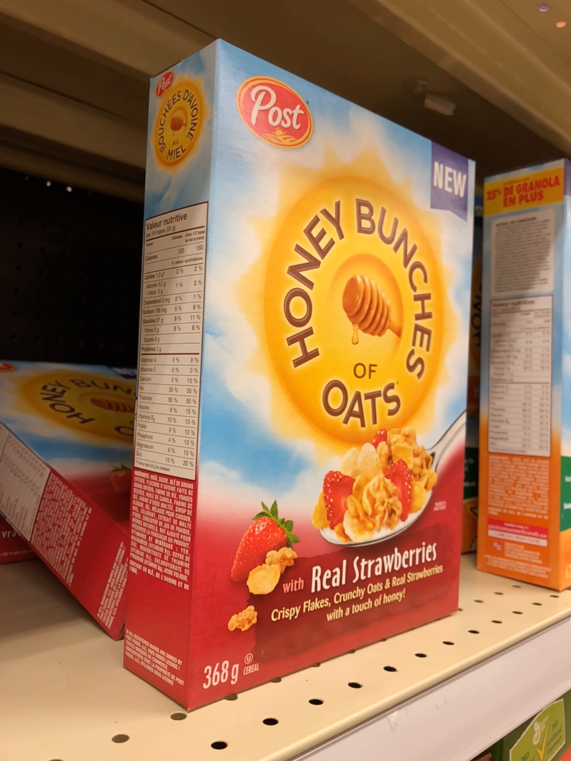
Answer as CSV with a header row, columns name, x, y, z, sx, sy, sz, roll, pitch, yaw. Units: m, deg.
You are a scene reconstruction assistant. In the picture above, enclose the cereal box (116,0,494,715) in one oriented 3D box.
name,x,y,z,sx,sy,sz,roll,pitch,yaw
cereal box,0.025,-0.007,0.324,0.200,0.270,0.050,4,-2,-42
